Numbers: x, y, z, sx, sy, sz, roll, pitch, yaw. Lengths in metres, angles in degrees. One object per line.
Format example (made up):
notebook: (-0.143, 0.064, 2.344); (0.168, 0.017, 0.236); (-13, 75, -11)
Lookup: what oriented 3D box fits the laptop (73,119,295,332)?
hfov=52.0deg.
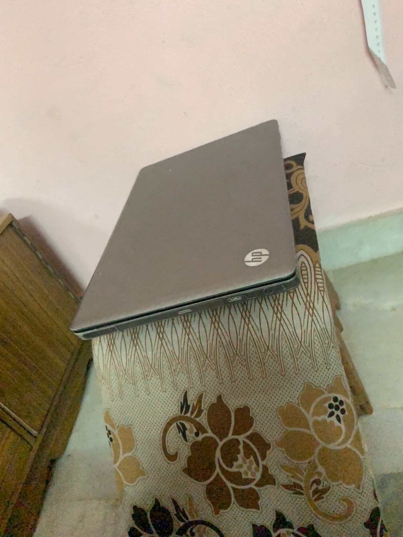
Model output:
laptop: (-0.011, -0.085, 0.562); (0.249, 0.002, 0.381); (-15, 37, 19)
